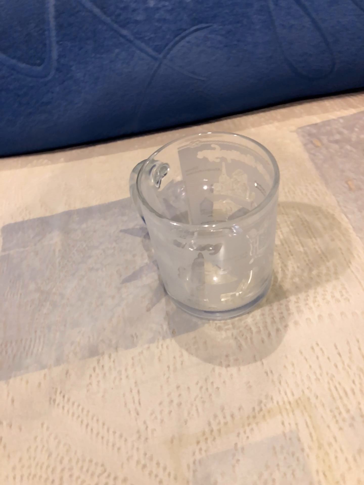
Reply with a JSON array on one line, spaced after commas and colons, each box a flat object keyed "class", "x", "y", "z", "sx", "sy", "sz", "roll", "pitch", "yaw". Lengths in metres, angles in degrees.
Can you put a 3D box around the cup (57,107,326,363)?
[{"class": "cup", "x": 0.006, "y": -0.011, "z": 0.253, "sx": 0.120, "sy": 0.080, "sz": 0.090, "roll": 31, "pitch": 60, "yaw": 30}]
